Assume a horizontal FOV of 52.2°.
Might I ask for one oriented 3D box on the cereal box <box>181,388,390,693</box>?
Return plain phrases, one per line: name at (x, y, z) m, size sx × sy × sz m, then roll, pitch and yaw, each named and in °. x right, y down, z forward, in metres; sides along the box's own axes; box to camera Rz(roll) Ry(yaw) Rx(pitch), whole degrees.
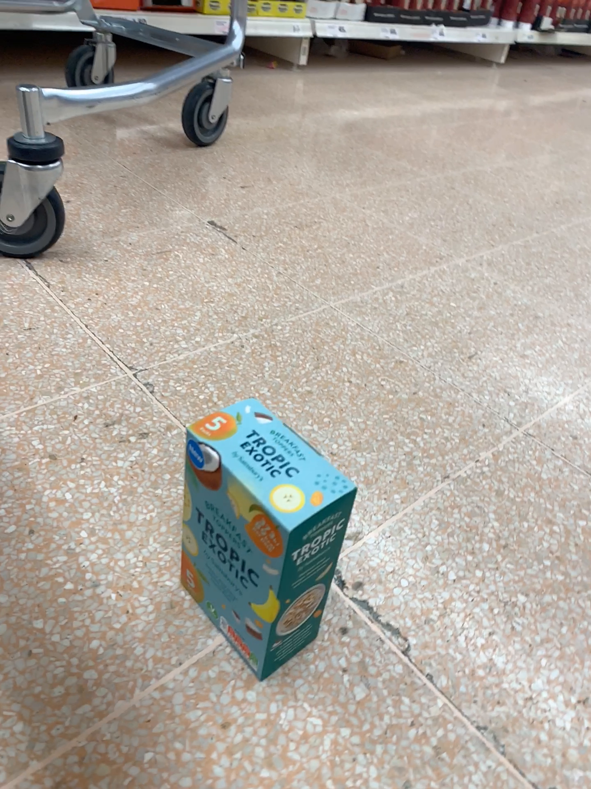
cereal box at (-0.016, 0.093, 0.389) m, size 0.060 × 0.149 × 0.111 m, roll -24°, pitch 48°, yaw -36°
